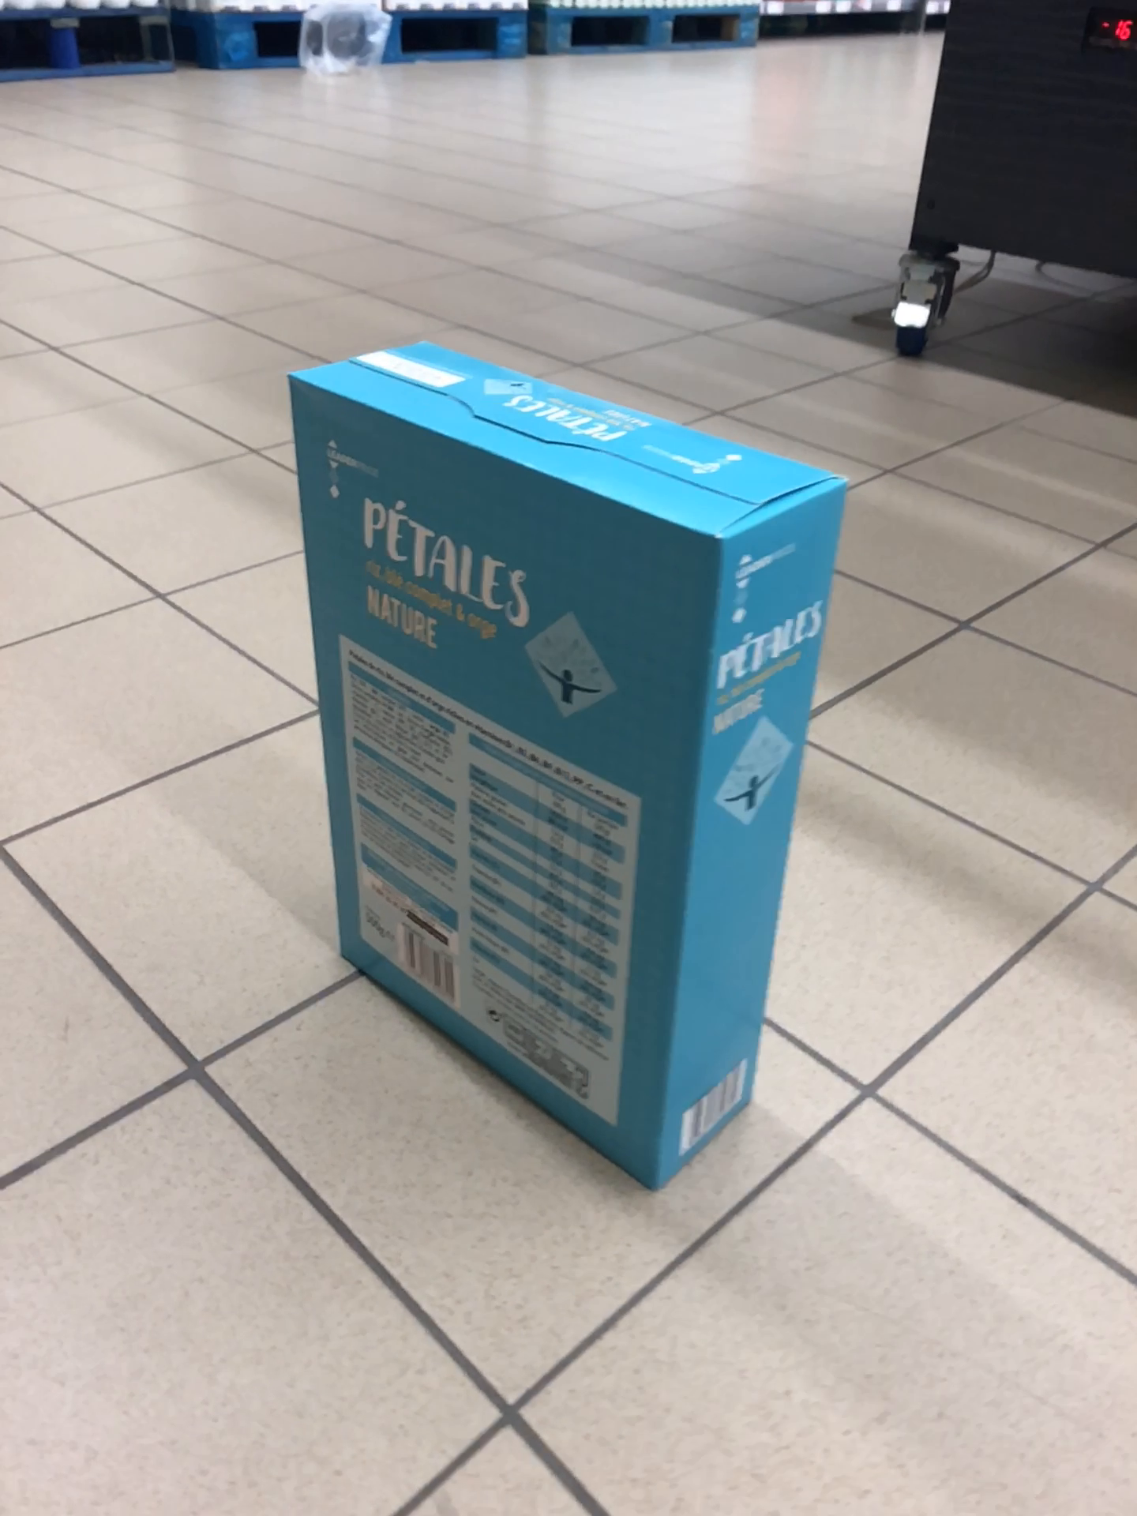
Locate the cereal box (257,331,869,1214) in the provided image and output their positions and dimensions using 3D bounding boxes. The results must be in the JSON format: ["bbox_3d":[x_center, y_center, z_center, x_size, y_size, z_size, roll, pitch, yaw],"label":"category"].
[{"bbox_3d":[-0.014,0.003,0.468,0.200,0.268,0.070,28,40,34],"label":"cereal box"}]
